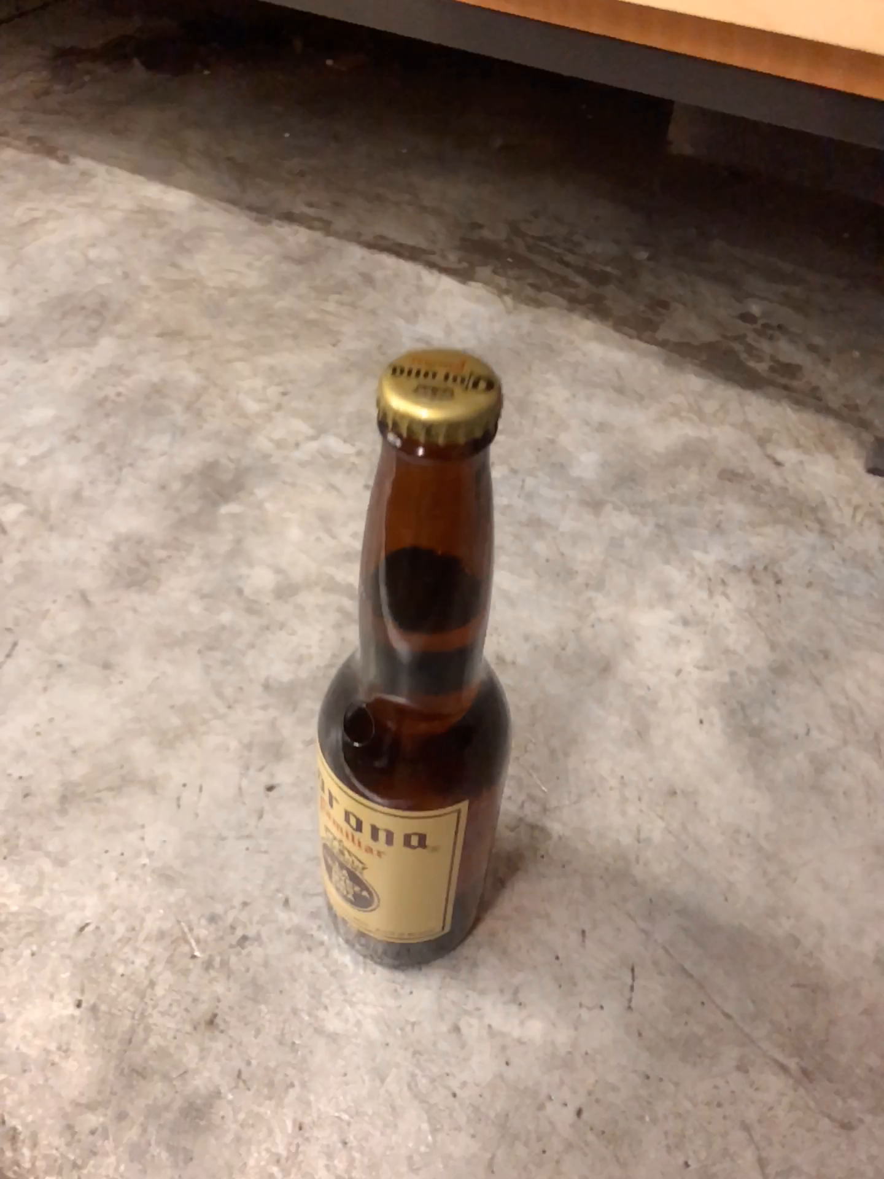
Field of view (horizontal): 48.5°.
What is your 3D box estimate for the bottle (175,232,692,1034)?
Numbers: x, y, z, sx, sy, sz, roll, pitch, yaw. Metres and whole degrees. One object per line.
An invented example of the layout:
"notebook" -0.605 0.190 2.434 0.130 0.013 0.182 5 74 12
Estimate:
"bottle" -0.007 0.030 0.266 0.070 0.216 0.070 2 46 -2
